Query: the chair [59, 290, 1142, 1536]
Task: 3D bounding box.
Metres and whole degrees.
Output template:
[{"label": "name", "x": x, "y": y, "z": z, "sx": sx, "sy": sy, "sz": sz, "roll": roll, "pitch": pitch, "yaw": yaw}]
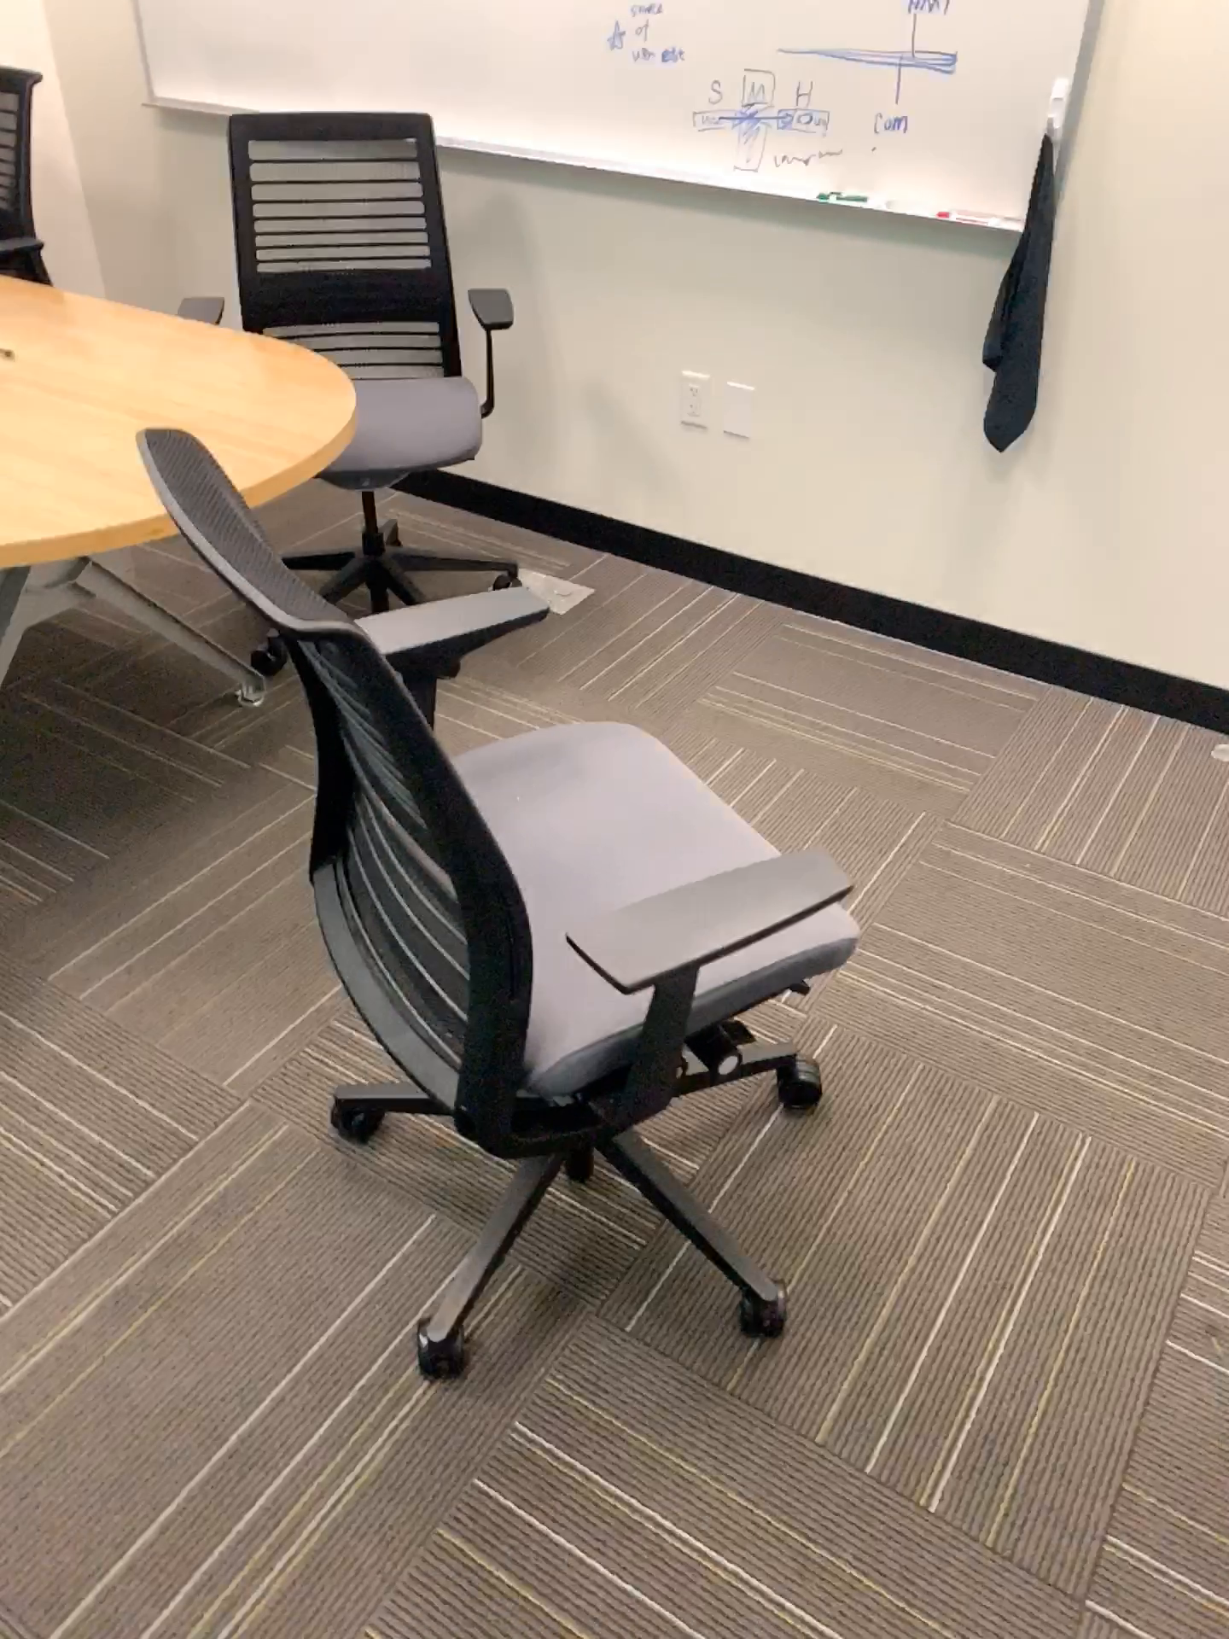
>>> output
[{"label": "chair", "x": -0.059, "y": 0.069, "z": 1.359, "sx": 0.690, "sy": 0.994, "sz": 0.654, "roll": -18, "pitch": 41, "yaw": -23}]
